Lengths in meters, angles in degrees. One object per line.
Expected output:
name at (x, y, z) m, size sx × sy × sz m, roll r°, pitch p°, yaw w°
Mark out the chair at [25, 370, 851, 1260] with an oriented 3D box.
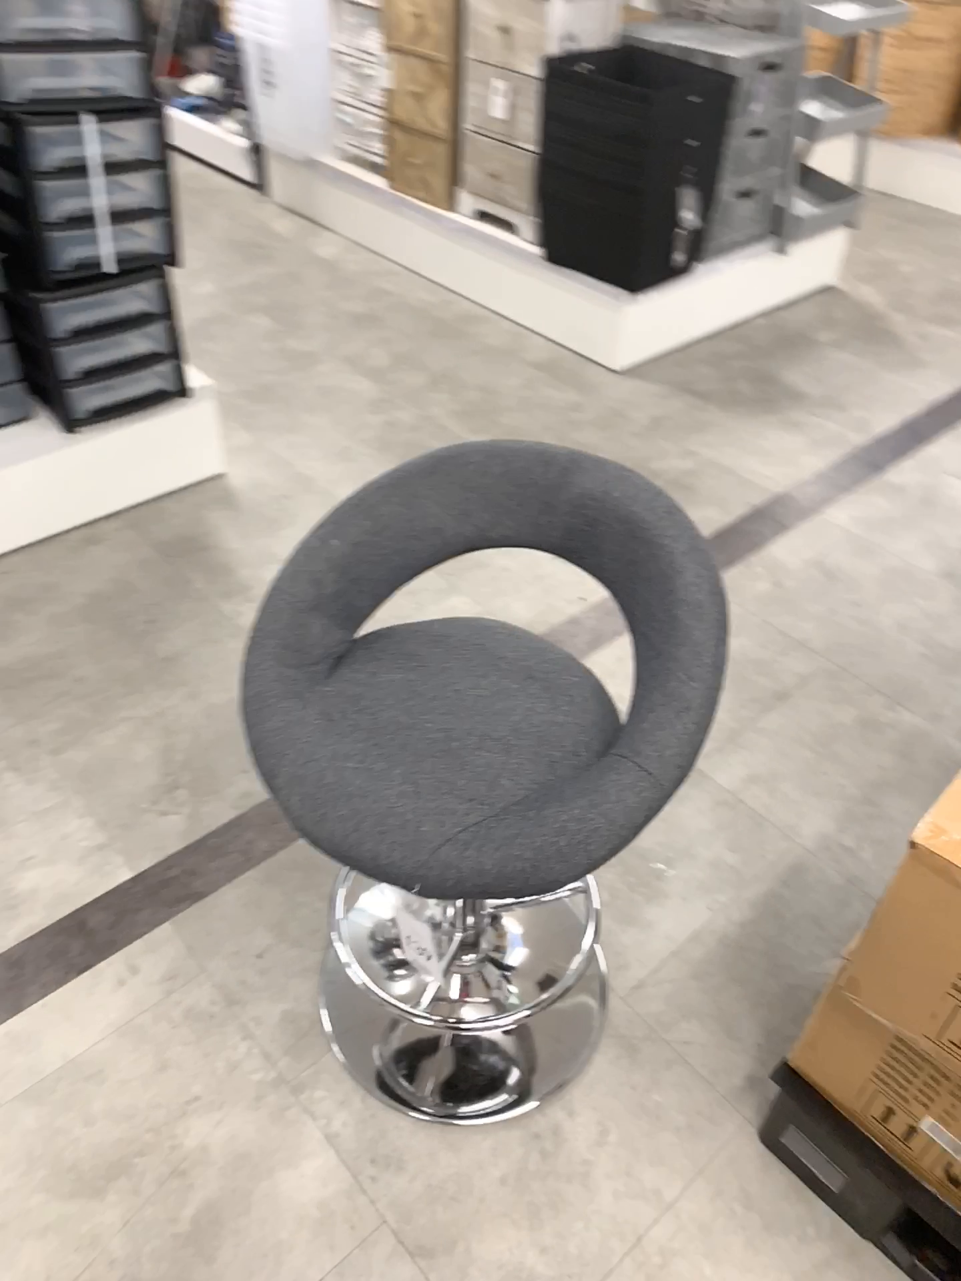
chair at (-0.034, 0.169, 1.192) m, size 0.574 × 0.664 × 0.595 m, roll 29°, pitch 47°, yaw 27°
